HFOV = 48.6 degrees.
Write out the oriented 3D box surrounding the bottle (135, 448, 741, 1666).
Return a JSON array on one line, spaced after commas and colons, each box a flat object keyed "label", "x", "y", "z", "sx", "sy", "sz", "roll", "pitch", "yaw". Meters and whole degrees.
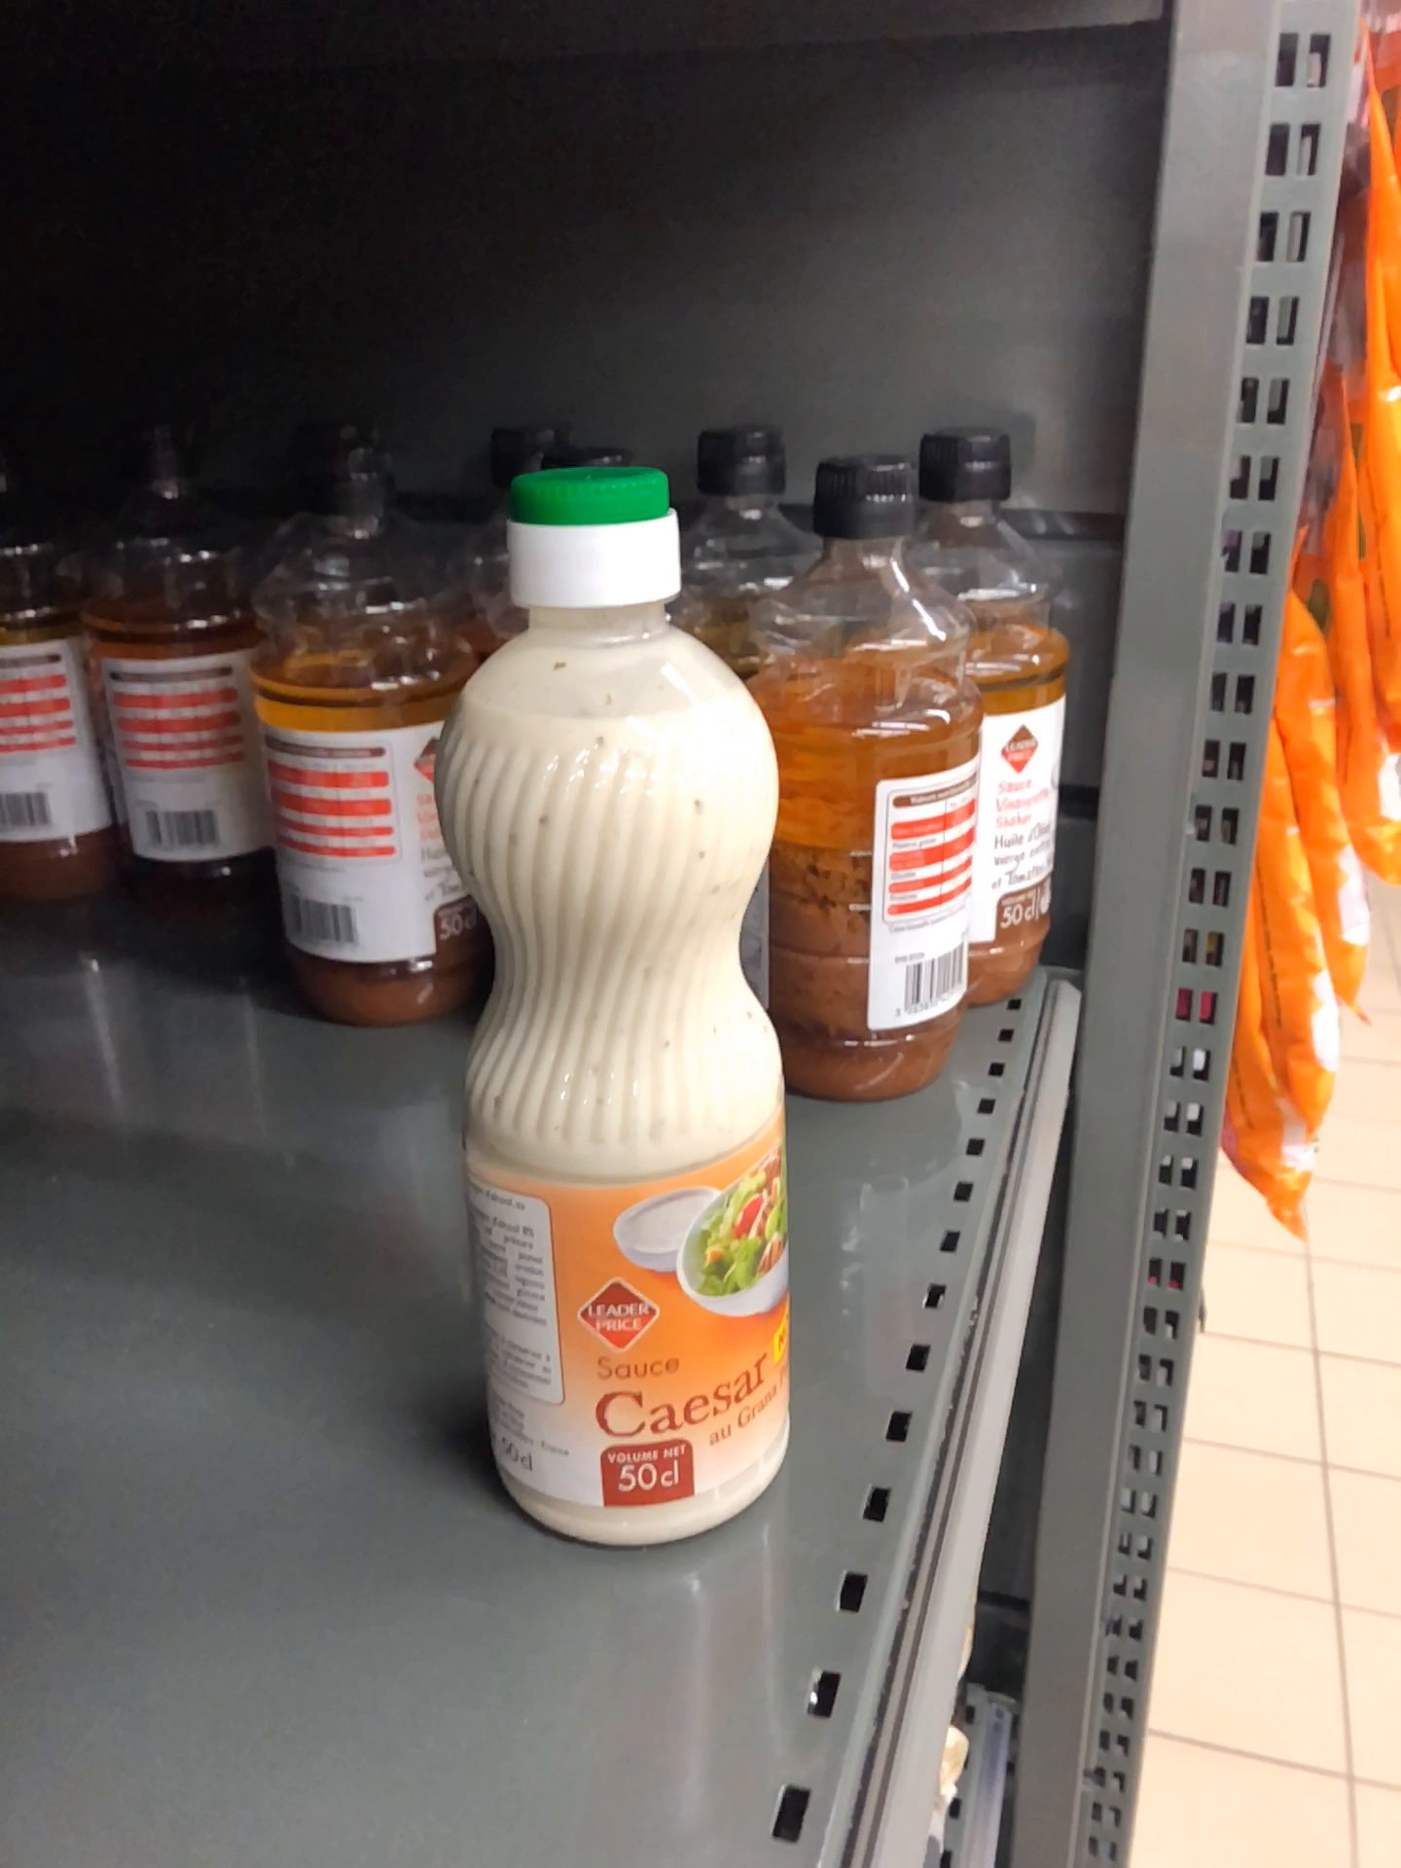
[{"label": "bottle", "x": -0.041, "y": 0.024, "z": 0.319, "sx": 0.080, "sy": 0.229, "sz": 0.080, "roll": 0, "pitch": 22, "yaw": 0}]
